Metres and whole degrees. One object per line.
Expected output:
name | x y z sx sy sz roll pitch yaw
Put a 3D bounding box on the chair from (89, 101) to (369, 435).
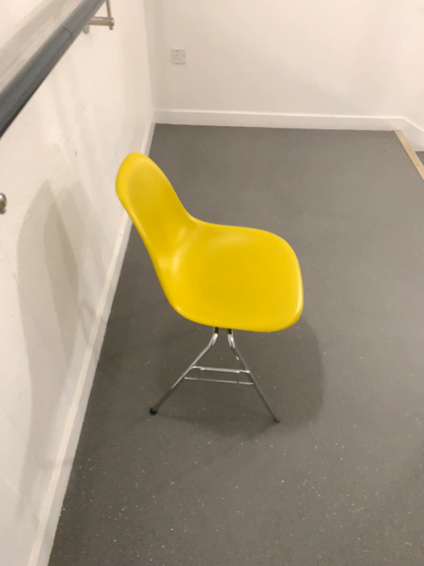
chair | 0.031 -0.020 1.340 0.540 0.822 0.636 1 46 0
